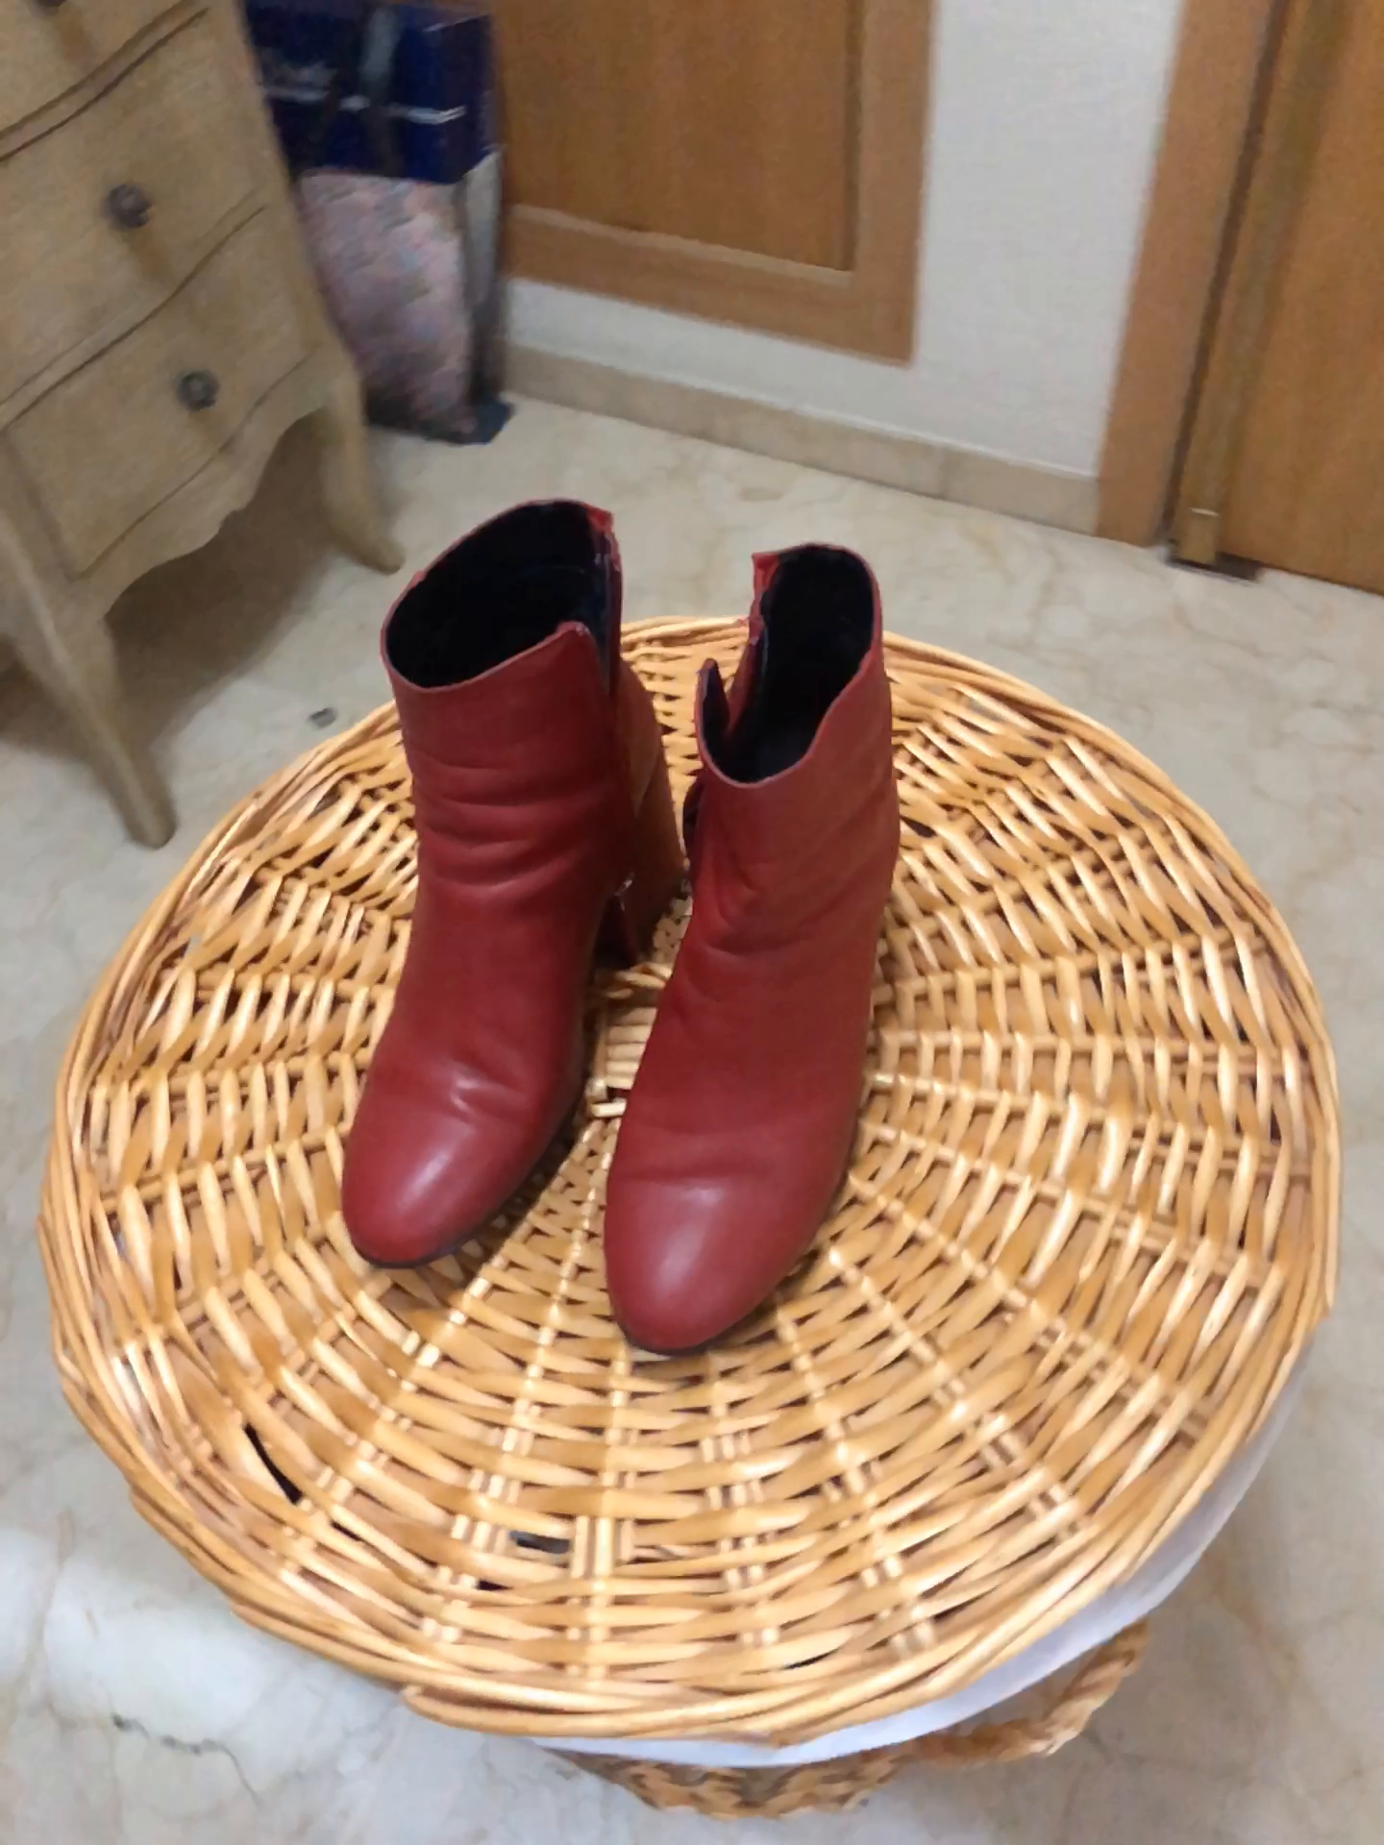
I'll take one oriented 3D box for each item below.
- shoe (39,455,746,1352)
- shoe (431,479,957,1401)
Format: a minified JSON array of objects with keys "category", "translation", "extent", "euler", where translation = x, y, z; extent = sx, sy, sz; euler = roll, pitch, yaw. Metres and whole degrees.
[{"category":"shoe","translation":[-0.079,-0.009,0.548],"extent":[0.099,0.184,0.245],"euler":[19,56,18]},{"category":"shoe","translation":[0.017,0.004,0.528],"extent":[0.099,0.184,0.245],"euler":[10,54,12]}]
